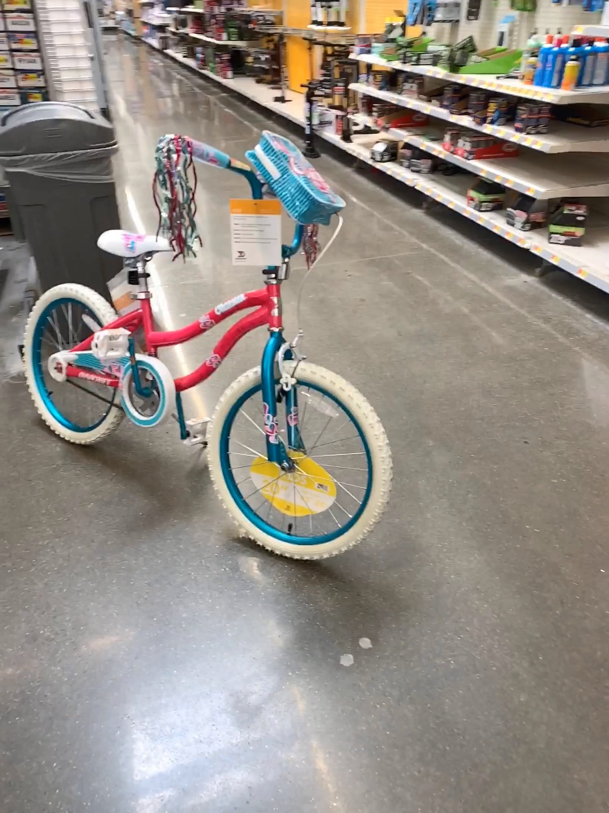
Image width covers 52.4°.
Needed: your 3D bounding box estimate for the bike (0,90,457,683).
[{"bbox_3d":[-0.327,-0.184,1.637,1.262,0.929,0.656,22,38,25],"label":"bike"}]
